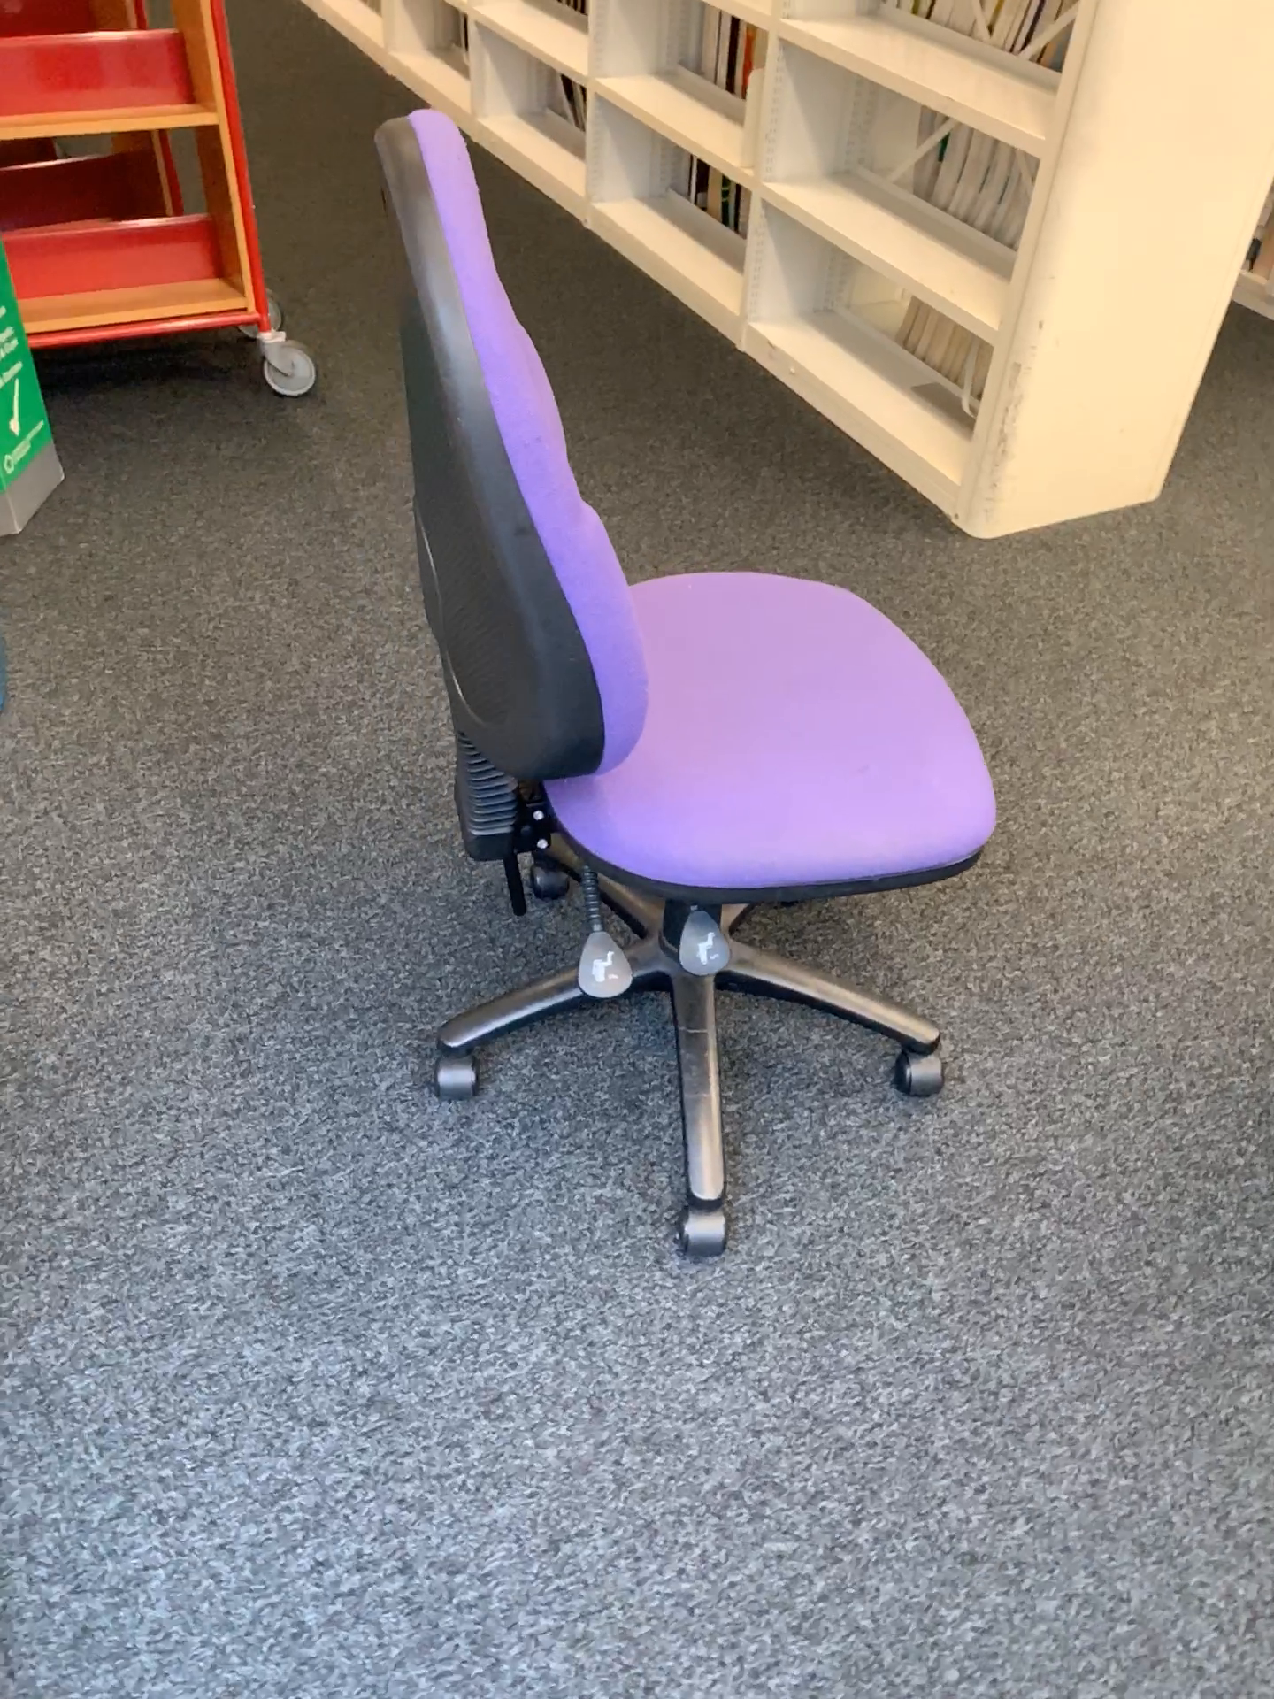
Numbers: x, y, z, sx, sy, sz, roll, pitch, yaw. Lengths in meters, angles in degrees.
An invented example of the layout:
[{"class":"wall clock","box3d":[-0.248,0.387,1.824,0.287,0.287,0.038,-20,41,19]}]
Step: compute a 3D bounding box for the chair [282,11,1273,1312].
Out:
[{"class":"chair","box3d":[0.060,-0.165,1.261,0.634,0.983,0.674,-7,44,-12]}]
